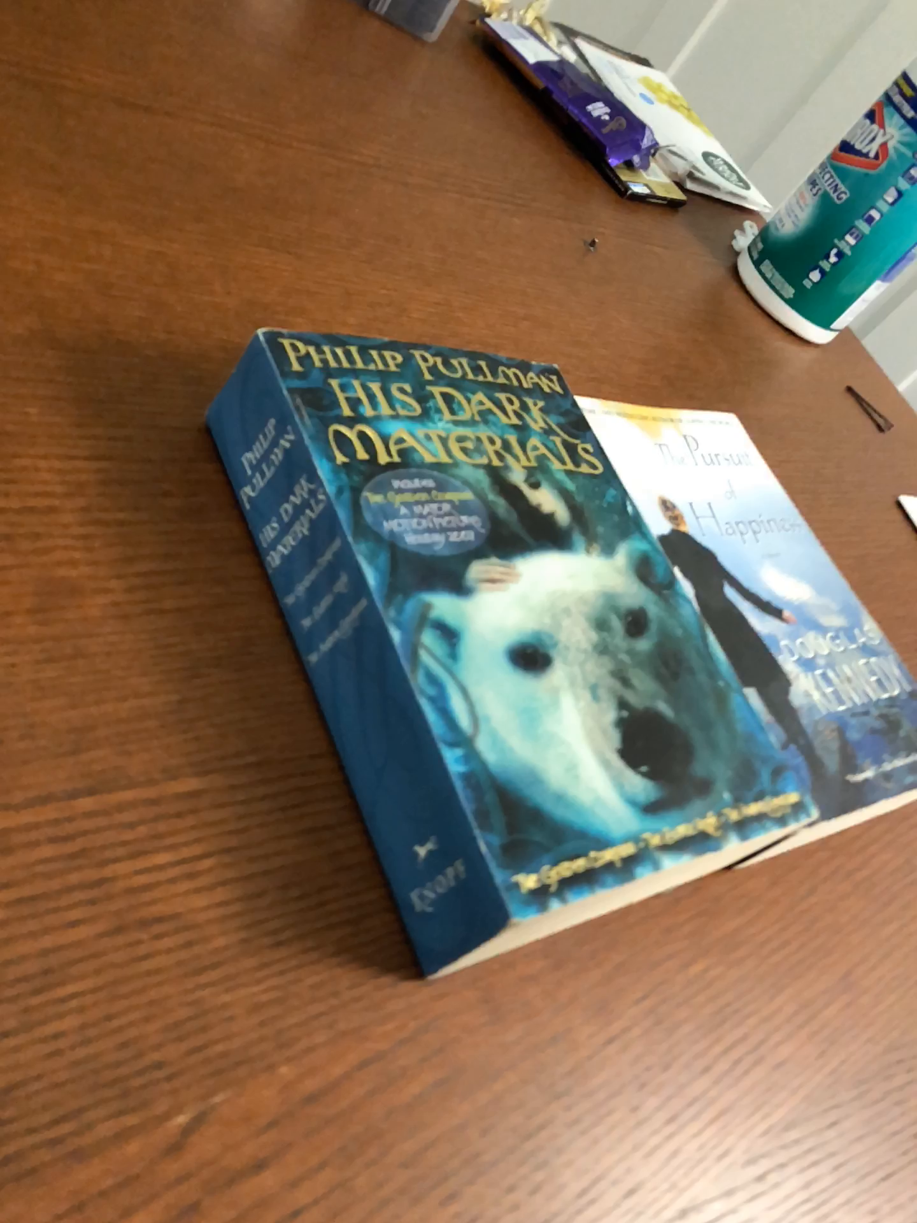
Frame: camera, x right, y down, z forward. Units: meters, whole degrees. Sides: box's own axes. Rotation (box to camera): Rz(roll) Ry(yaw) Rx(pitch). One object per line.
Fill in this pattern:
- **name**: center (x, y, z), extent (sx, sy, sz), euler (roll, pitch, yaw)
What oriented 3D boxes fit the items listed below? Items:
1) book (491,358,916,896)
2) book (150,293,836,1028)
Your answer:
- **book**: center (0.144, -0.008, 0.489), extent (0.181, 0.040, 0.250), euler (-4, 59, -41)
- **book**: center (0.011, -0.001, 0.384), extent (0.181, 0.050, 0.250), euler (-4, 59, -41)
